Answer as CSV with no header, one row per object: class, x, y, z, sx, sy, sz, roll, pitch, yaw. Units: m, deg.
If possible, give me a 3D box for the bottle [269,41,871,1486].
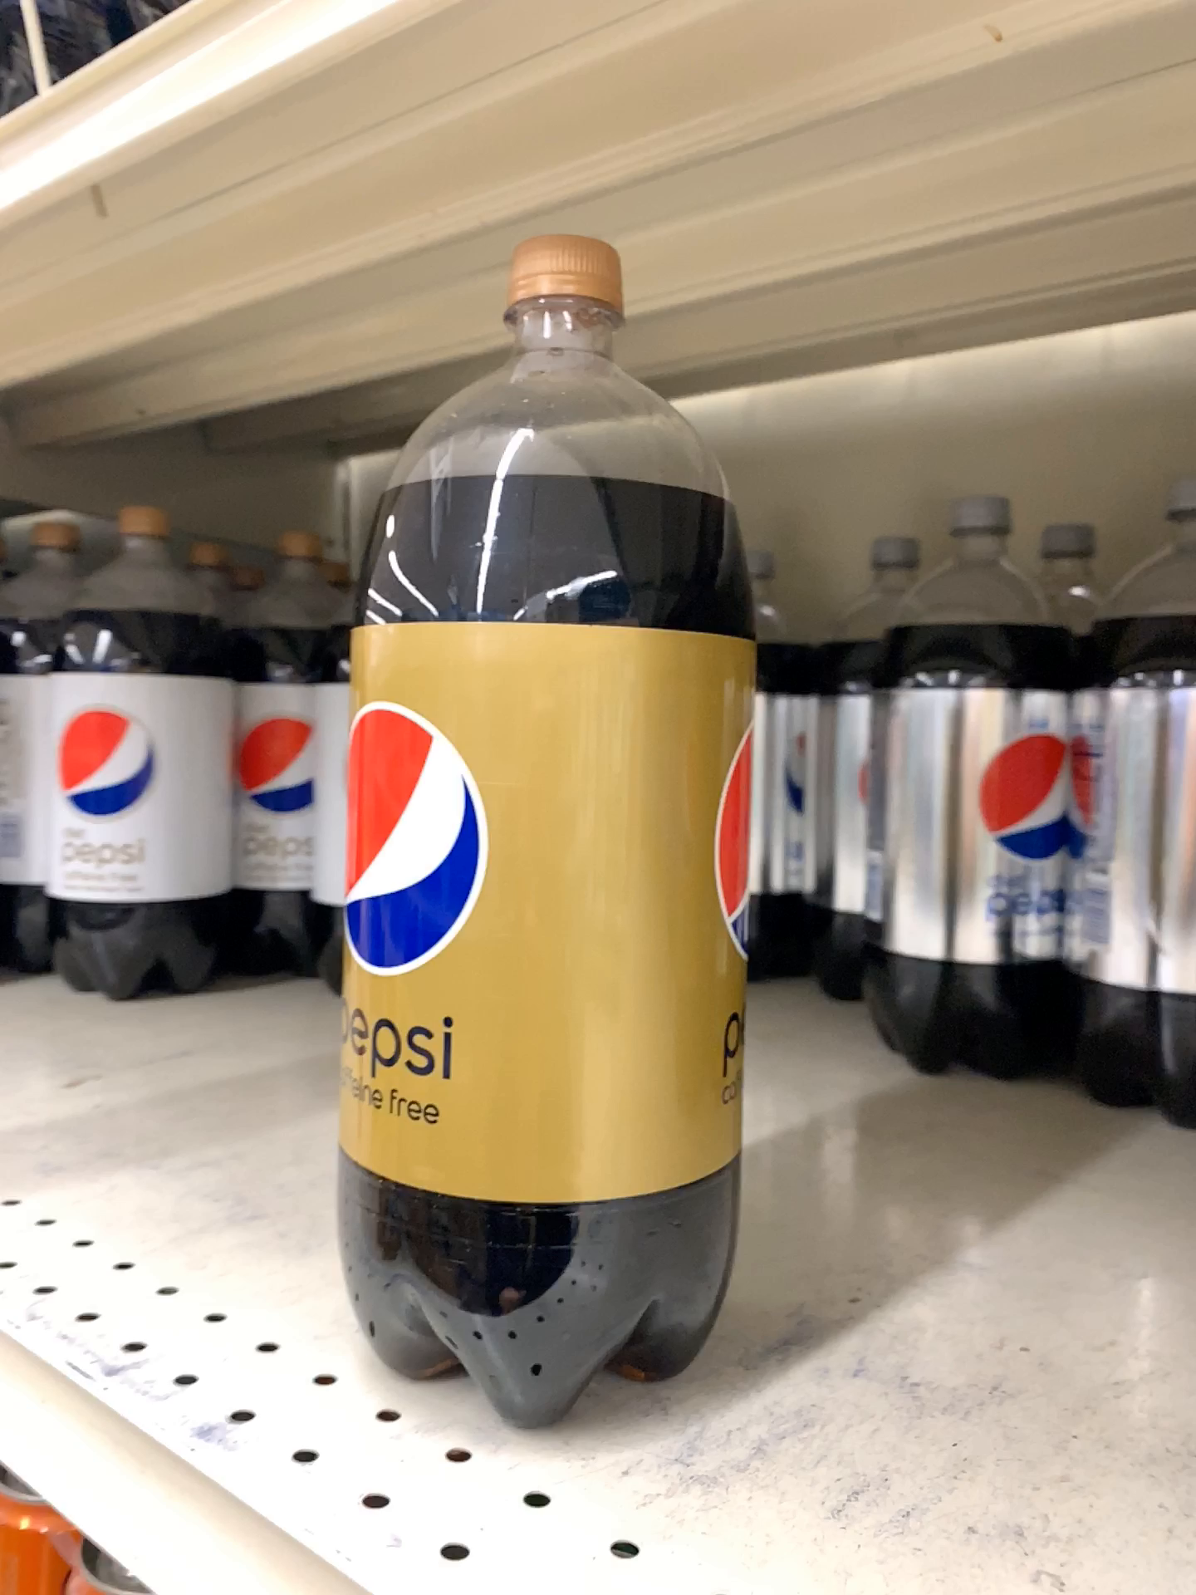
bottle,-0.010,-0.008,0.335,0.110,0.300,0.110,1,3,0
